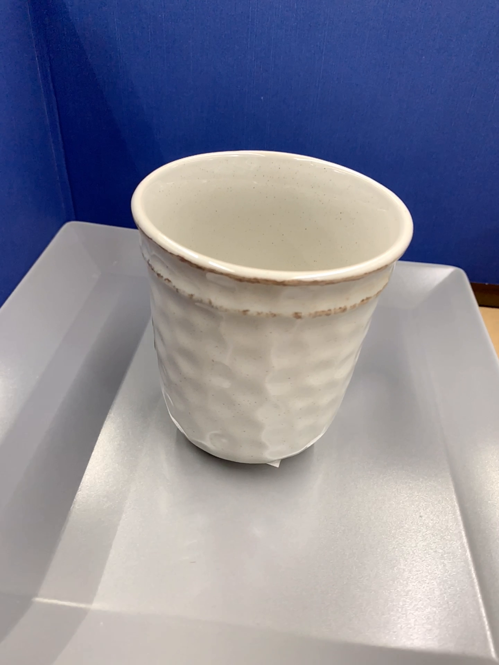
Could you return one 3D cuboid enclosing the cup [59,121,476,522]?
[{"bbox_3d":[0.014,-0.019,0.208,0.101,0.082,0.123,22,41,22],"label":"cup"}]
